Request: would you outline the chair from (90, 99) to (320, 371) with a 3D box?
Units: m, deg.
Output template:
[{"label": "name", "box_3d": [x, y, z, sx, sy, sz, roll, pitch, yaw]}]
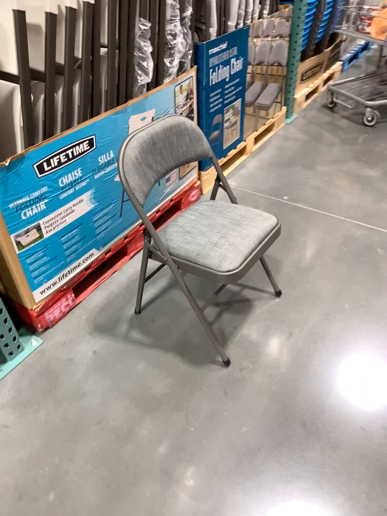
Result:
[{"label": "chair", "box_3d": [0.053, -0.098, 1.412, 0.503, 0.687, 0.496, 23, 46, 26]}]
